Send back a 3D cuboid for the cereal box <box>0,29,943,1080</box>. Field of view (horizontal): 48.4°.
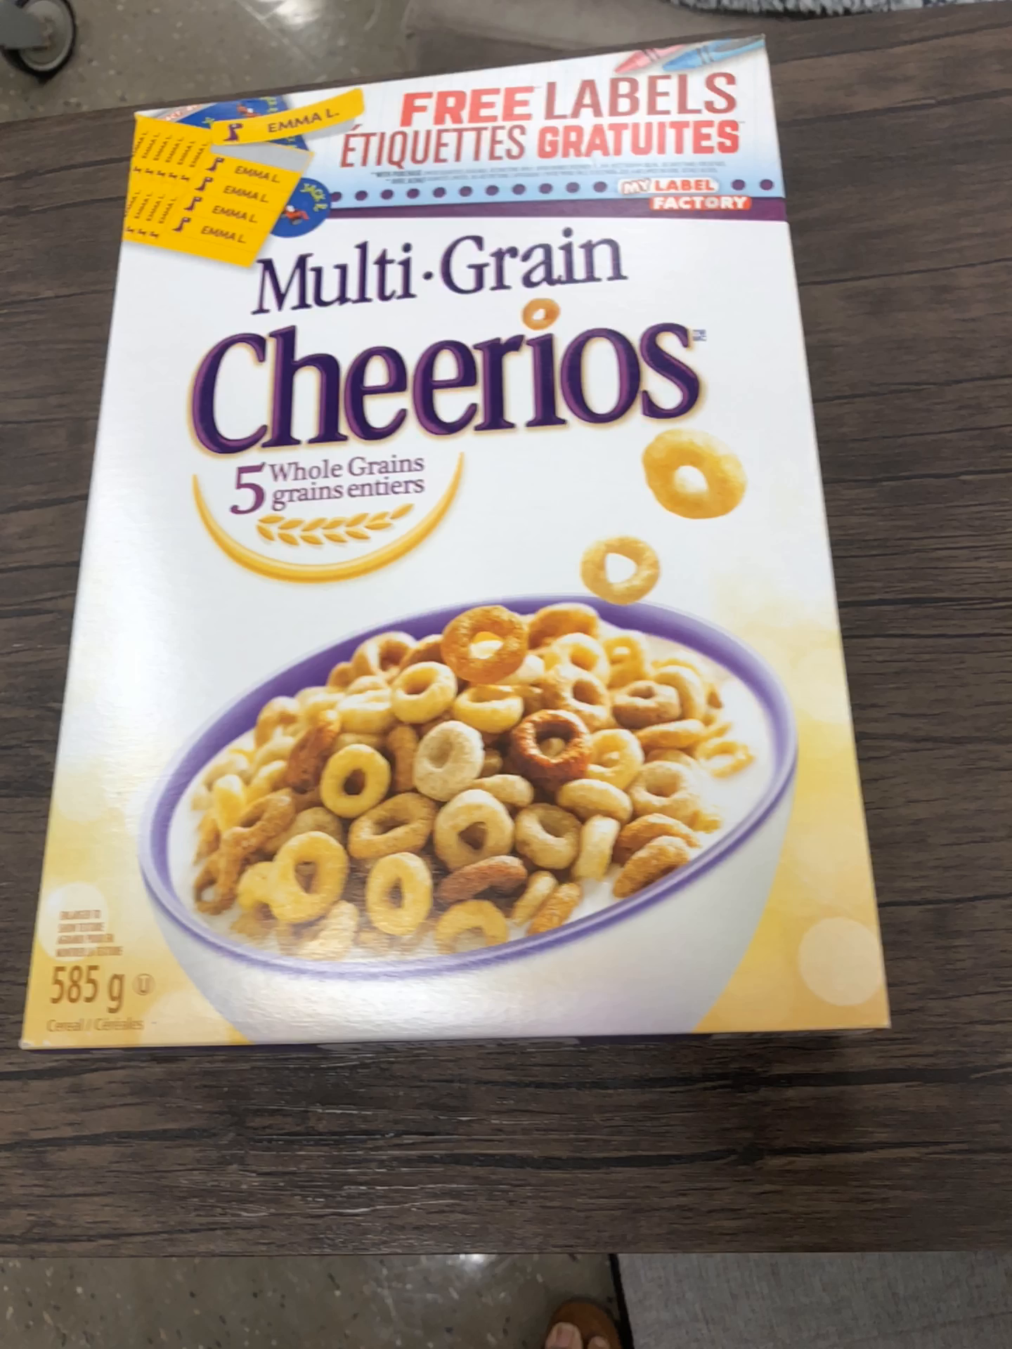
[{"bbox_3d":[-0.016,-0.047,0.376,0.250,0.070,0.340,-3,69,7],"label":"cereal box"}]
